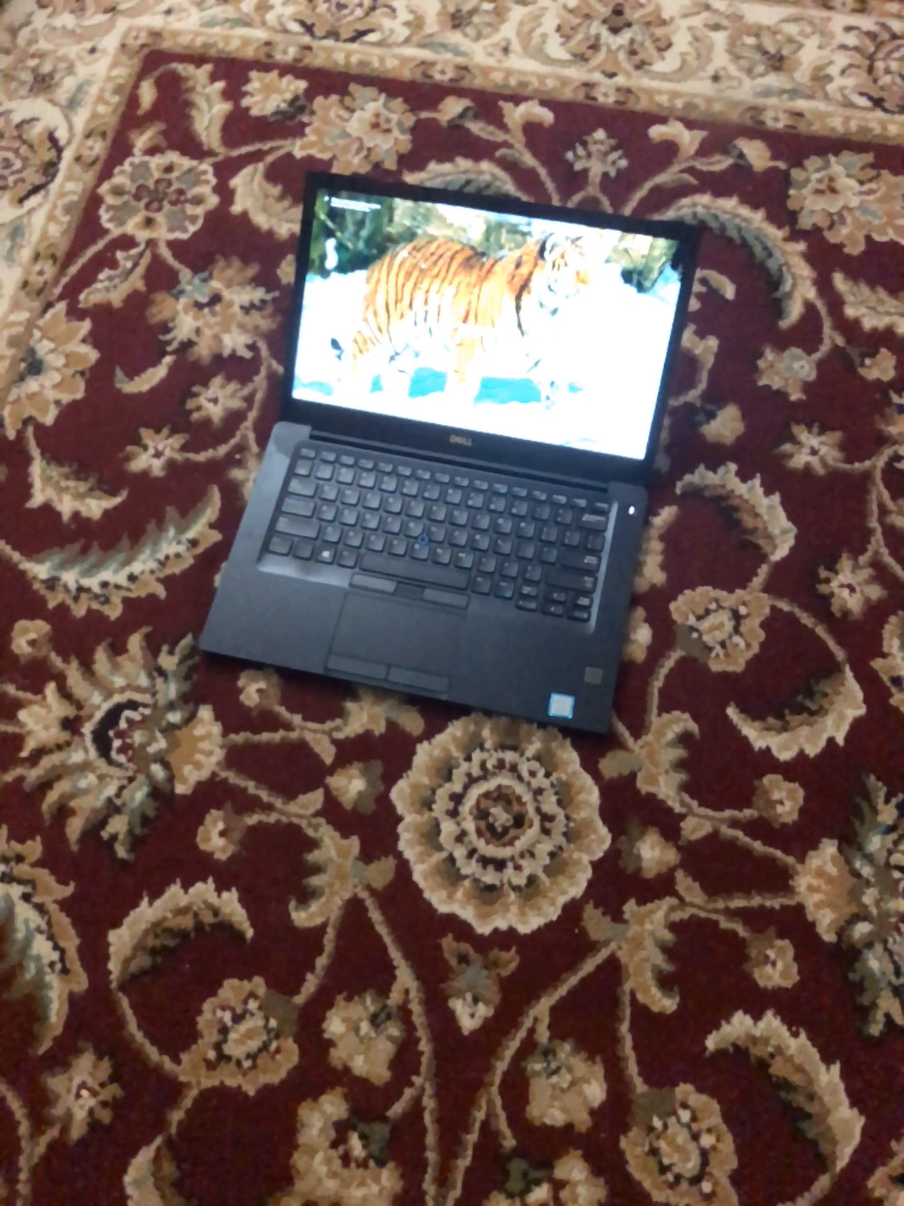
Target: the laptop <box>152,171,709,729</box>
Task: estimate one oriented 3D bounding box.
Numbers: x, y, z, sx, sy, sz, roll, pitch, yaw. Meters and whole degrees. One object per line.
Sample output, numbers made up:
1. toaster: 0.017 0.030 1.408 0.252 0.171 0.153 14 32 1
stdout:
1. laptop: 0.001 -0.132 0.790 0.328 0.124 0.384 11 67 7
